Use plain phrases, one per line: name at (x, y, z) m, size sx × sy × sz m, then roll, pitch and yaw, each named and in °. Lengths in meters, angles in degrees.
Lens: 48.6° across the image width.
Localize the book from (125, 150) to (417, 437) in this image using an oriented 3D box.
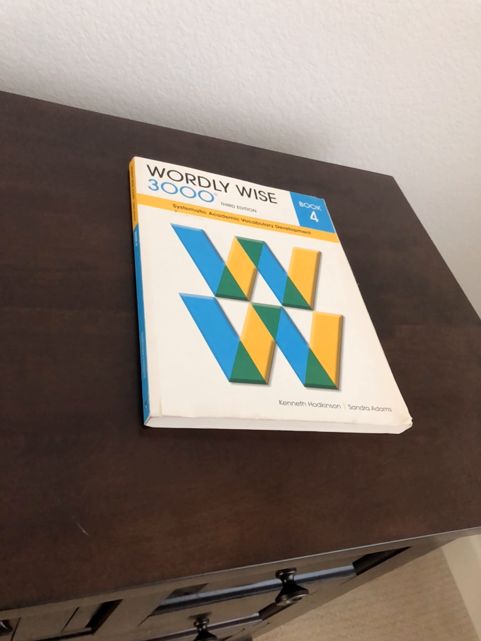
book at (0.015, -0.031, 0.462) m, size 0.217 × 0.020 × 0.274 m, roll 7°, pitch 51°, yaw -23°
